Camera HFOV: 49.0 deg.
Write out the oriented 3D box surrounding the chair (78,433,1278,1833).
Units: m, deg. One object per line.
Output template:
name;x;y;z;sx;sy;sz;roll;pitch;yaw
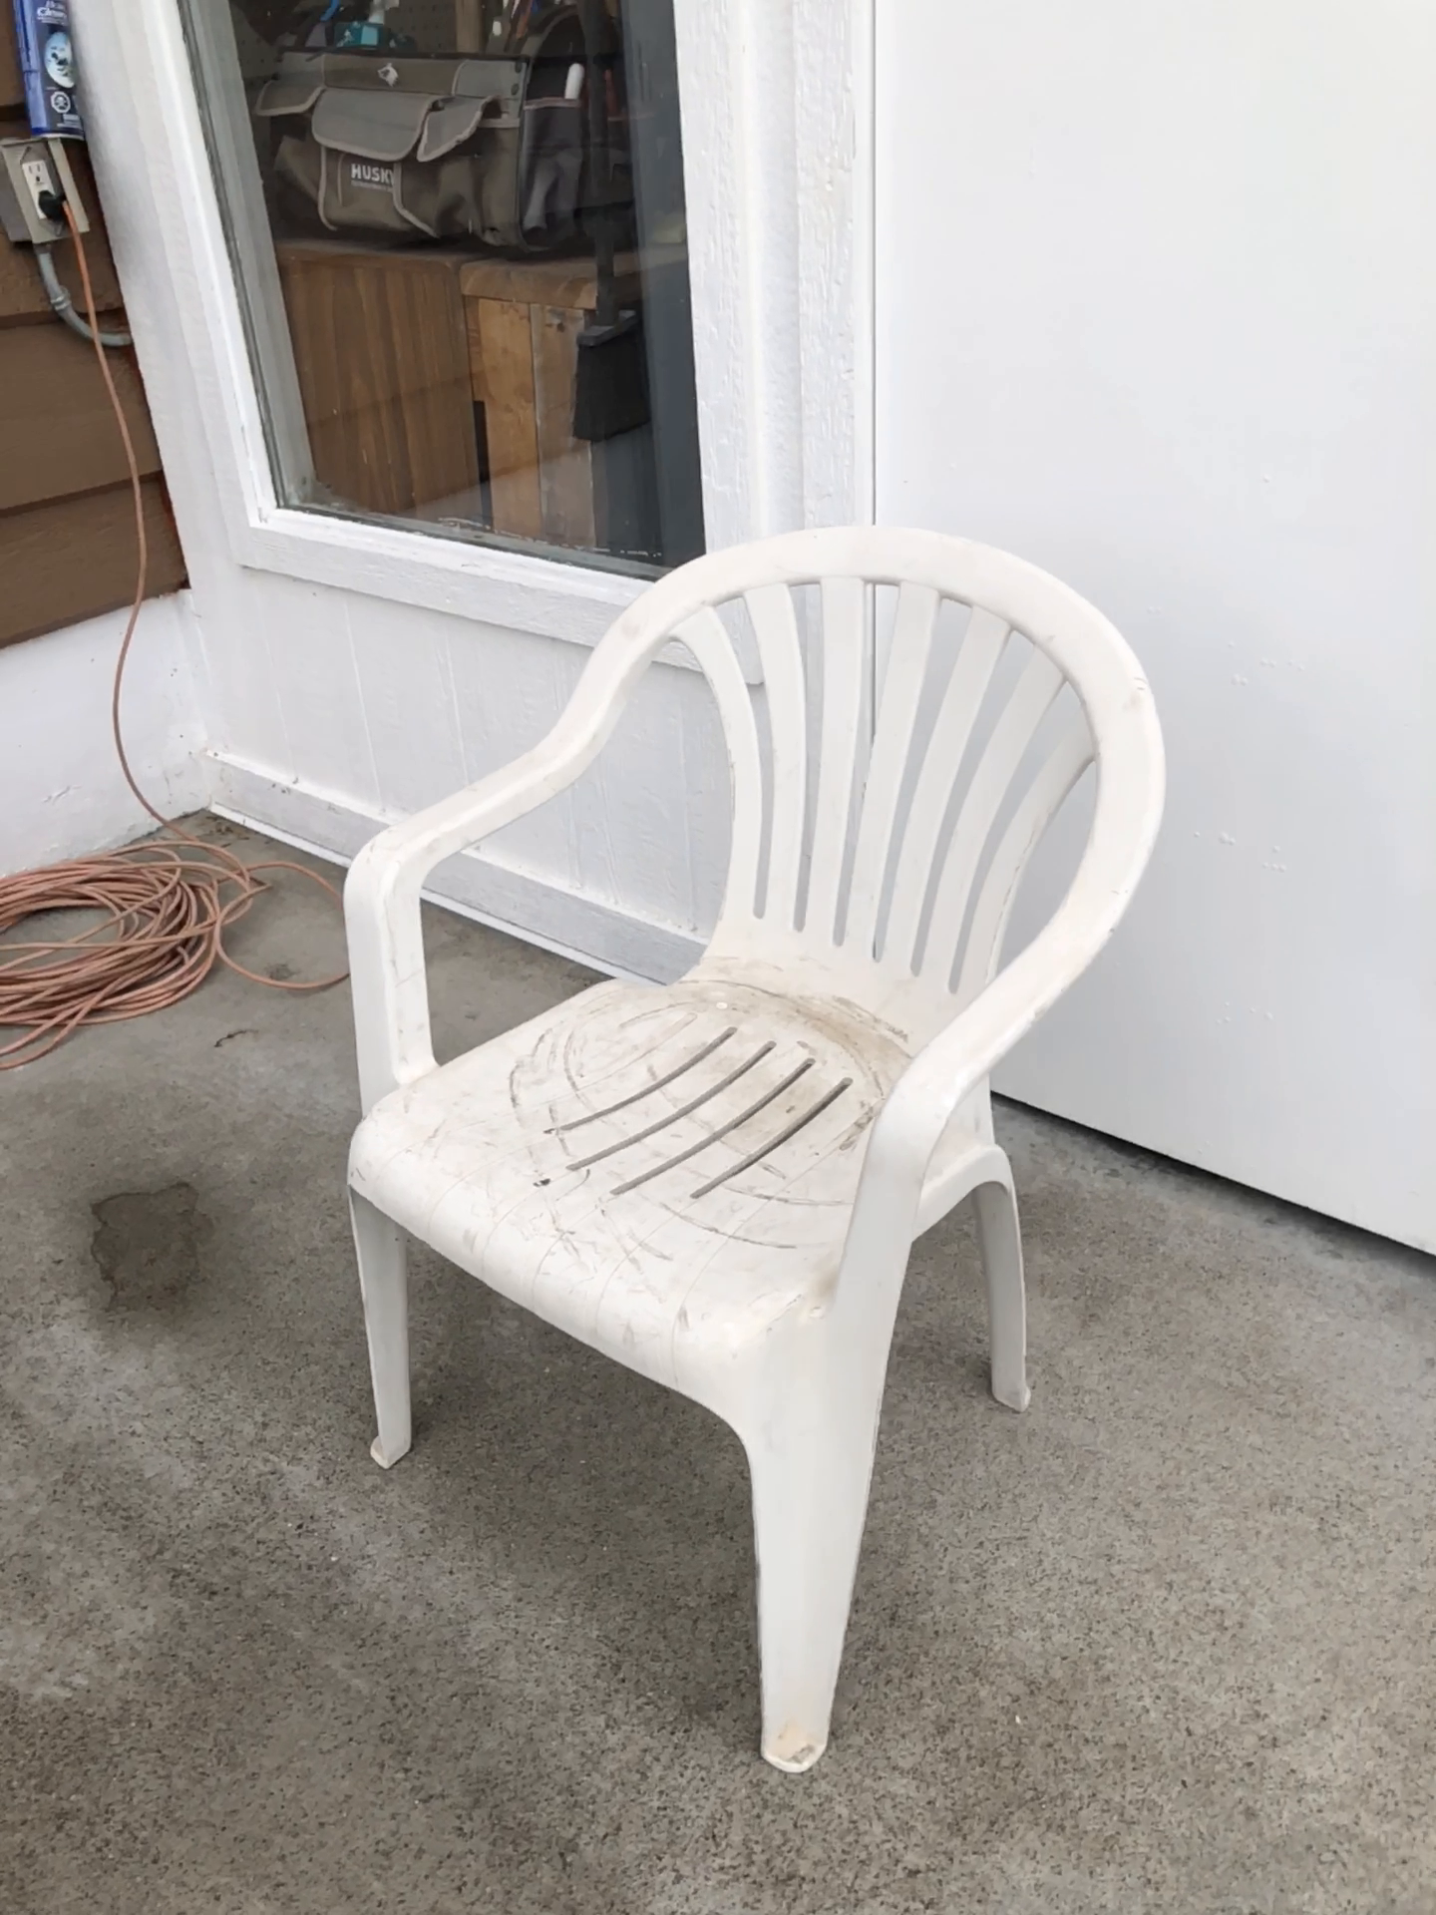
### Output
chair;-0.009;0.076;1.230;0.601;0.777;0.511;21;38;34
